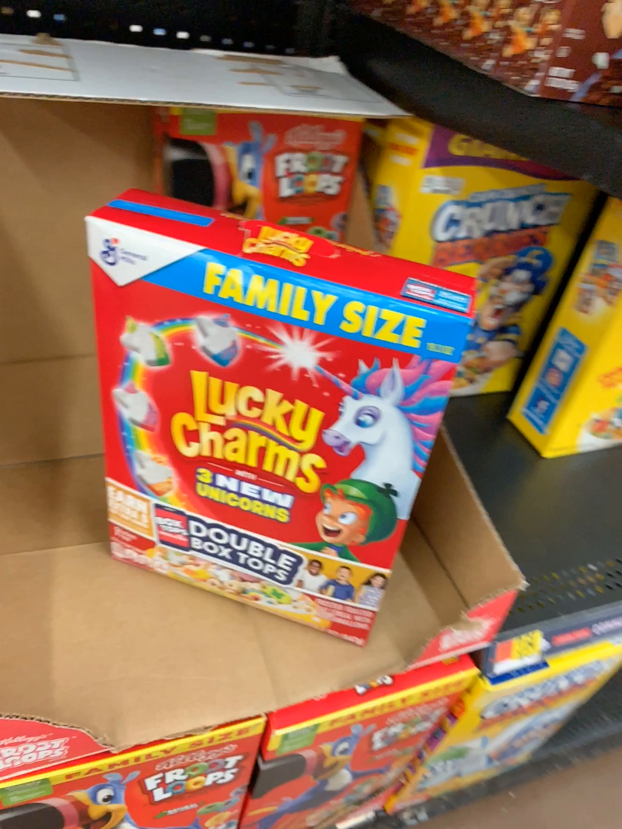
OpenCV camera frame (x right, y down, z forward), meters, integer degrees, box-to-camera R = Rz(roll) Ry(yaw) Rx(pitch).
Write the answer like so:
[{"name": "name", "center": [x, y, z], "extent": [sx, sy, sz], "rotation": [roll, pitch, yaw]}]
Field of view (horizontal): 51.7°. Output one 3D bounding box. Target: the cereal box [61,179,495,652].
[{"name": "cereal box", "center": [-0.035, 0.019, 0.437], "extent": [0.230, 0.288, 0.060], "rotation": [16, 38, 8]}]
